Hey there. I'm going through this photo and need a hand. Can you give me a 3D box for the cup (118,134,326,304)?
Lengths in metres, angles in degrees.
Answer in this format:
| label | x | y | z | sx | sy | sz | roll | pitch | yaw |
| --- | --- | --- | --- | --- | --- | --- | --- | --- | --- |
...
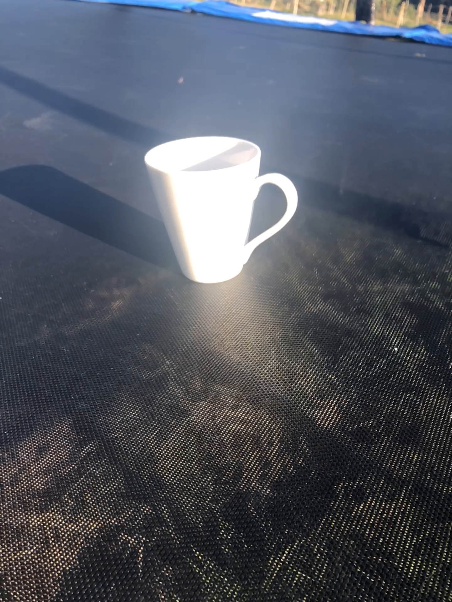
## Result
| label | x | y | z | sx | sy | sz | roll | pitch | yaw |
| --- | --- | --- | --- | --- | --- | --- | --- | --- | --- |
| cup | 0.002 | -0.073 | 0.408 | 0.129 | 0.094 | 0.098 | 12 | 34 | 27 |
